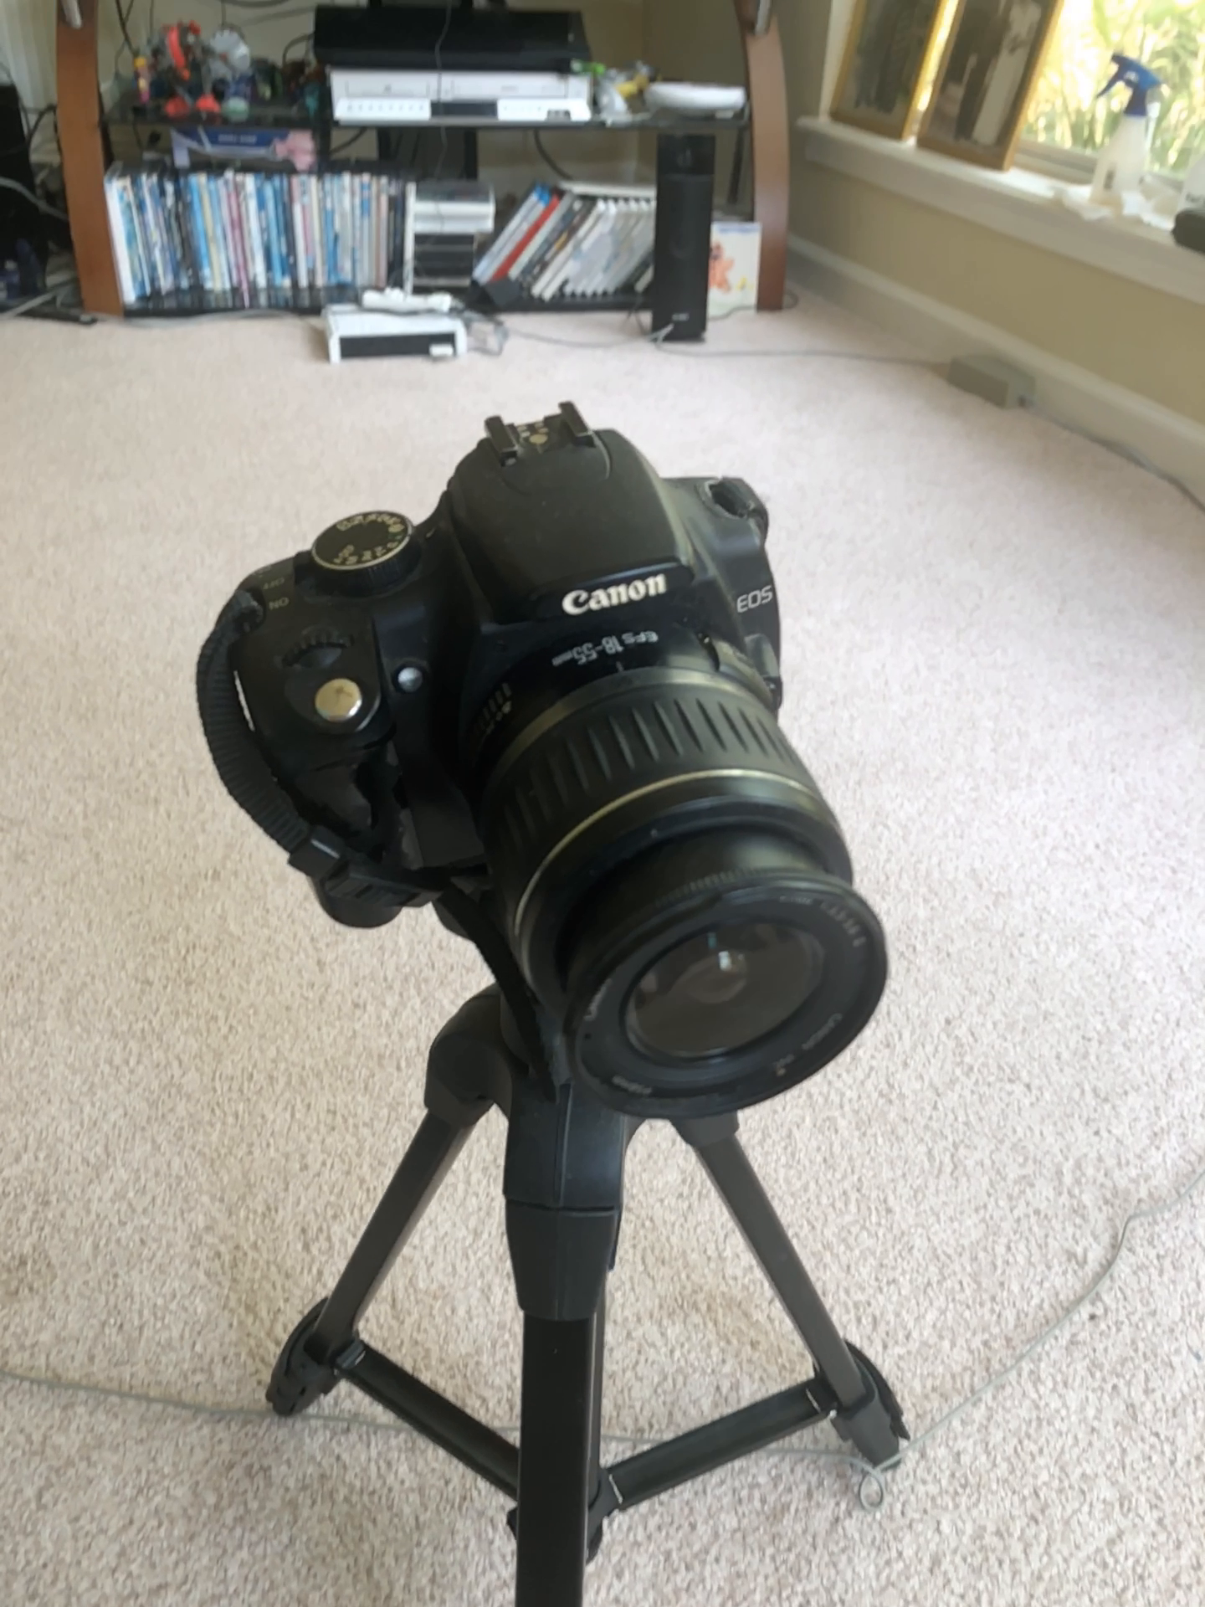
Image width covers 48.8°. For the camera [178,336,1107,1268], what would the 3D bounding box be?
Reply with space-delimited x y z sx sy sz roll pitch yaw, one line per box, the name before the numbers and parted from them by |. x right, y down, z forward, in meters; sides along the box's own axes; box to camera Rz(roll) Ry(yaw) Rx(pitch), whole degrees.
camera | -0.003 -0.011 0.275 0.130 0.093 0.143 -16 44 -11
